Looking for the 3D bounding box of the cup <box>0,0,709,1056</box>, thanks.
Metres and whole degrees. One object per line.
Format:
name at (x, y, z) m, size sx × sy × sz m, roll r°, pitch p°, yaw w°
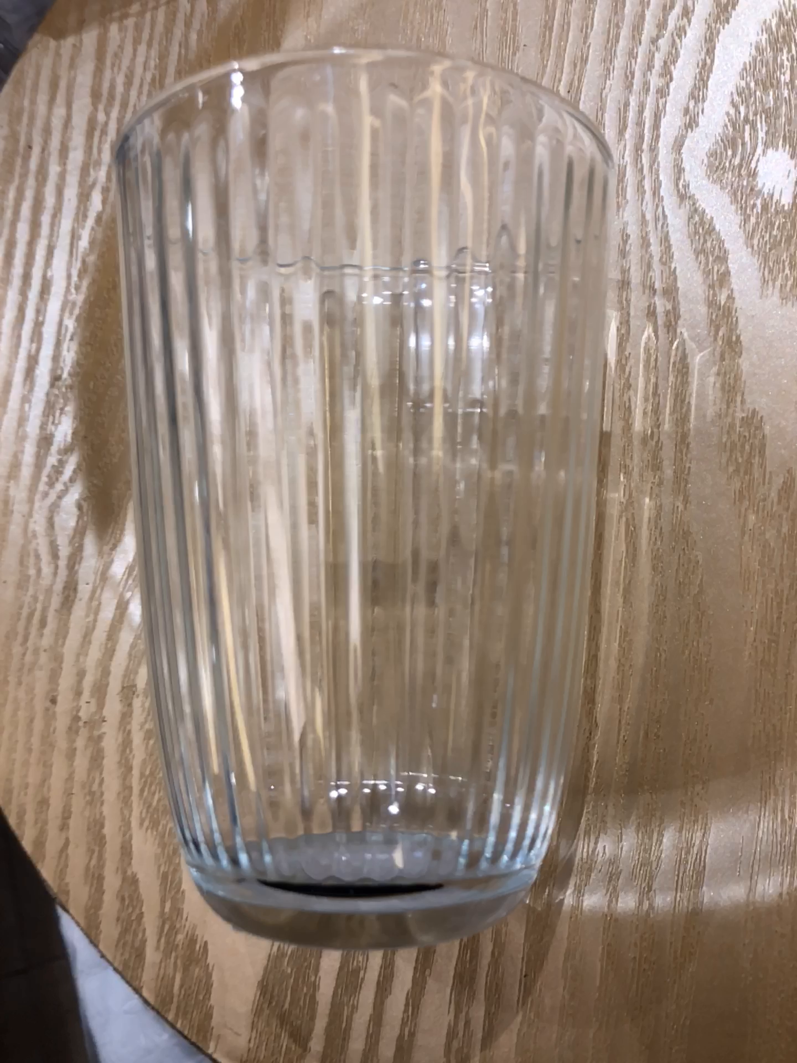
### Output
cup at (0.000, -0.002, 0.151) m, size 0.090 × 0.070 × 0.130 m, roll -3°, pitch 78°, yaw 20°
